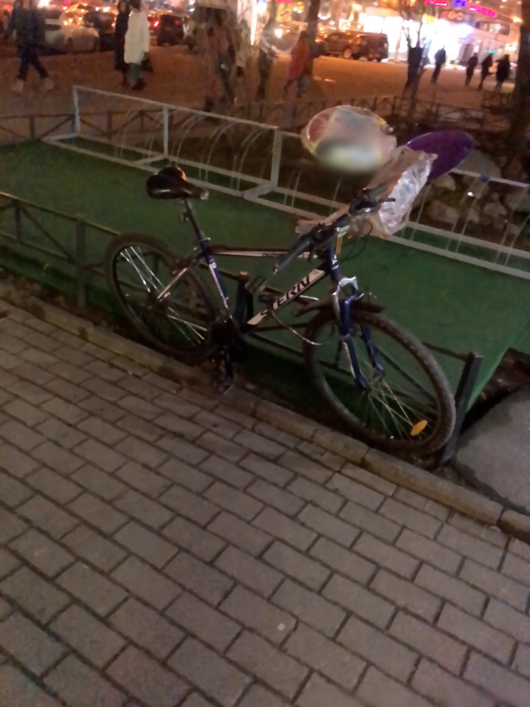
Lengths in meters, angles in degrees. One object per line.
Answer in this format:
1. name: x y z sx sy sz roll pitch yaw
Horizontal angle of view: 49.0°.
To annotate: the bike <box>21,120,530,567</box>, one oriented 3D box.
1. bike: -0.077 -0.156 1.918 1.458 0.883 0.532 24 32 26
